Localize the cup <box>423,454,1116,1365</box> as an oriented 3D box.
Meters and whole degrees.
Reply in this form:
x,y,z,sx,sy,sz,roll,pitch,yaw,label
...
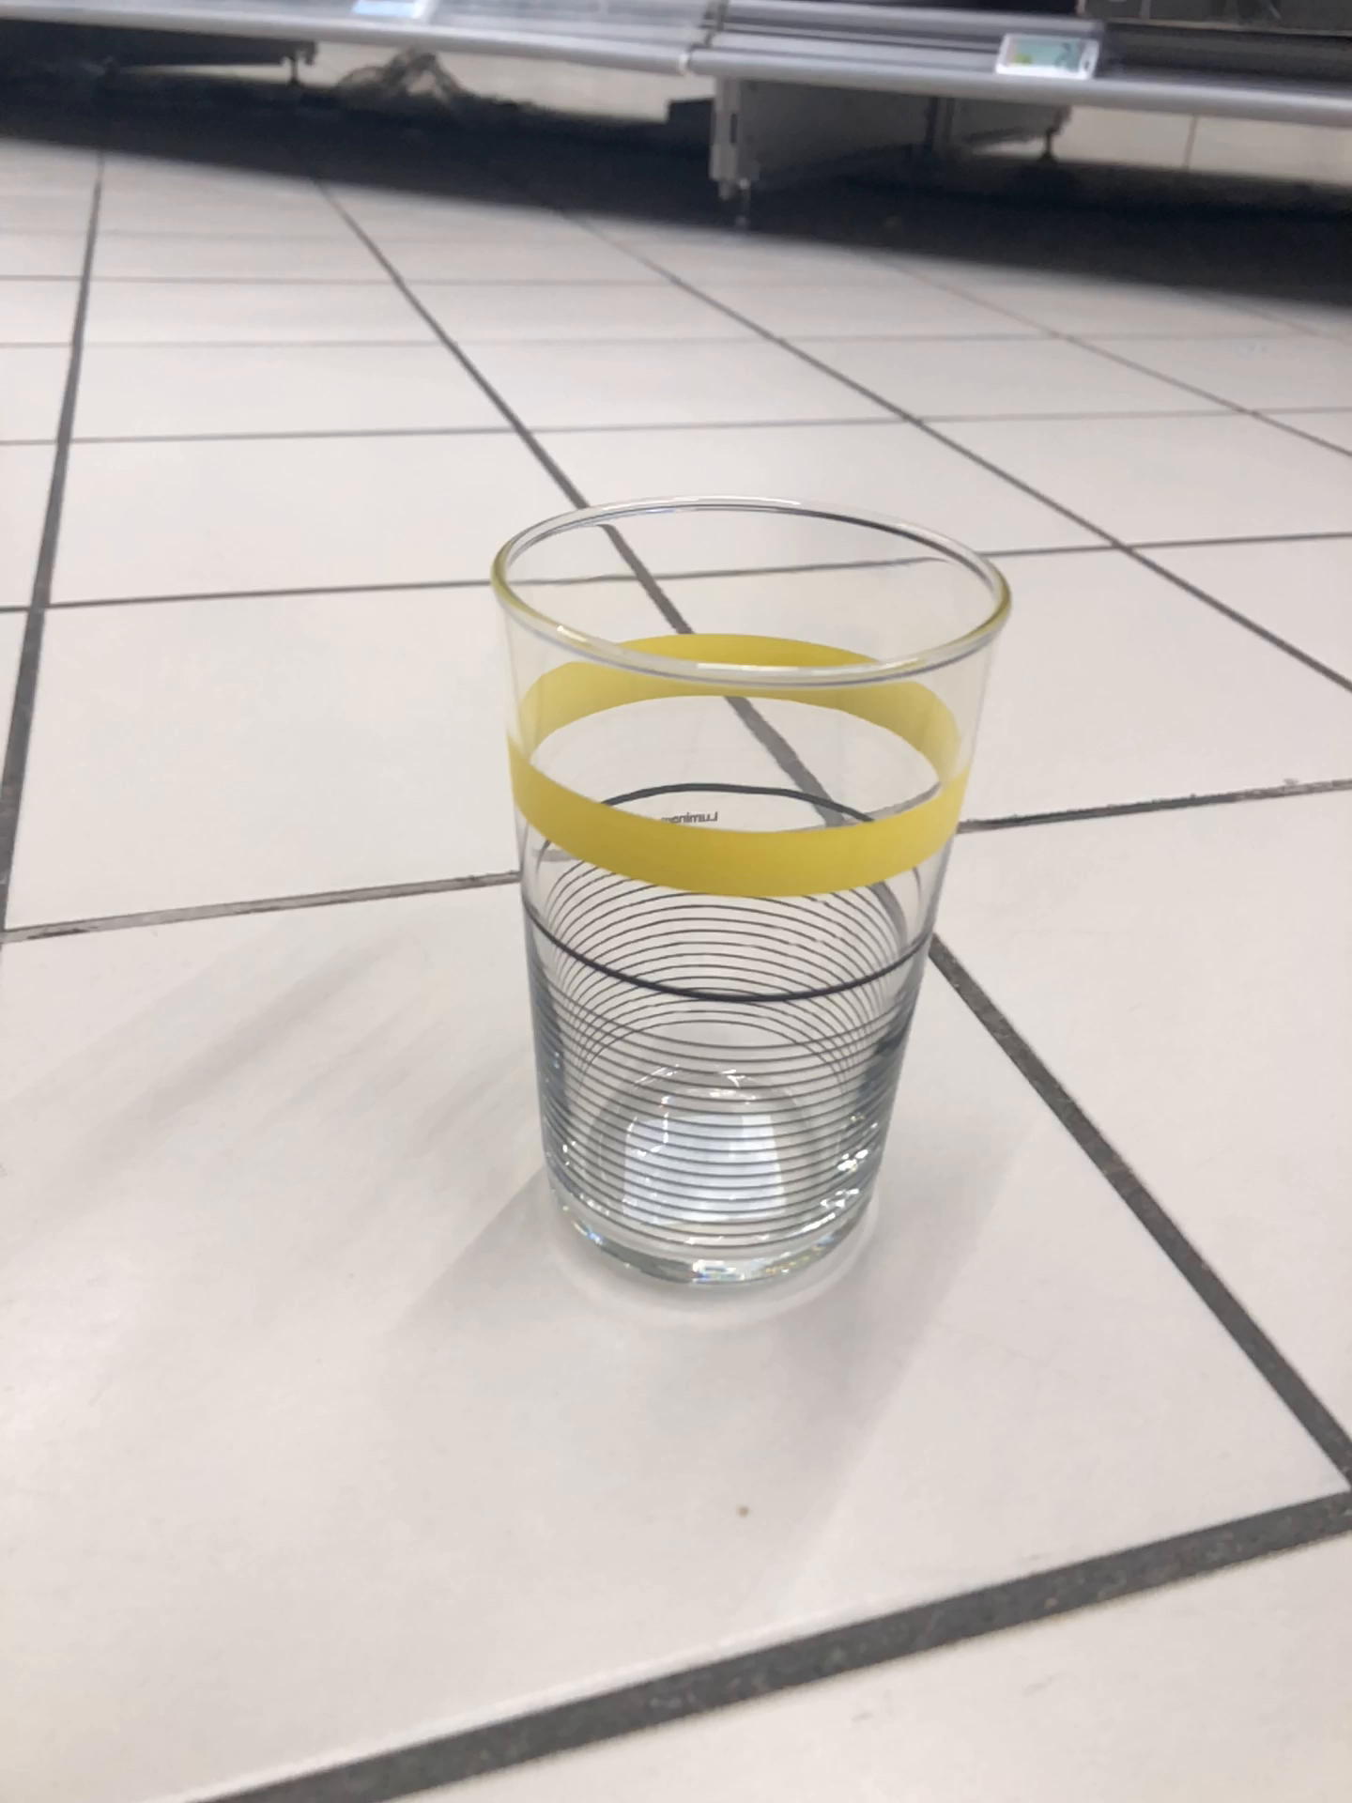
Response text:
x,y,z,sx,sy,sz,roll,pitch,yaw,label
0.013,-0.001,0.233,0.079,0.114,0.077,0,31,0,cup
